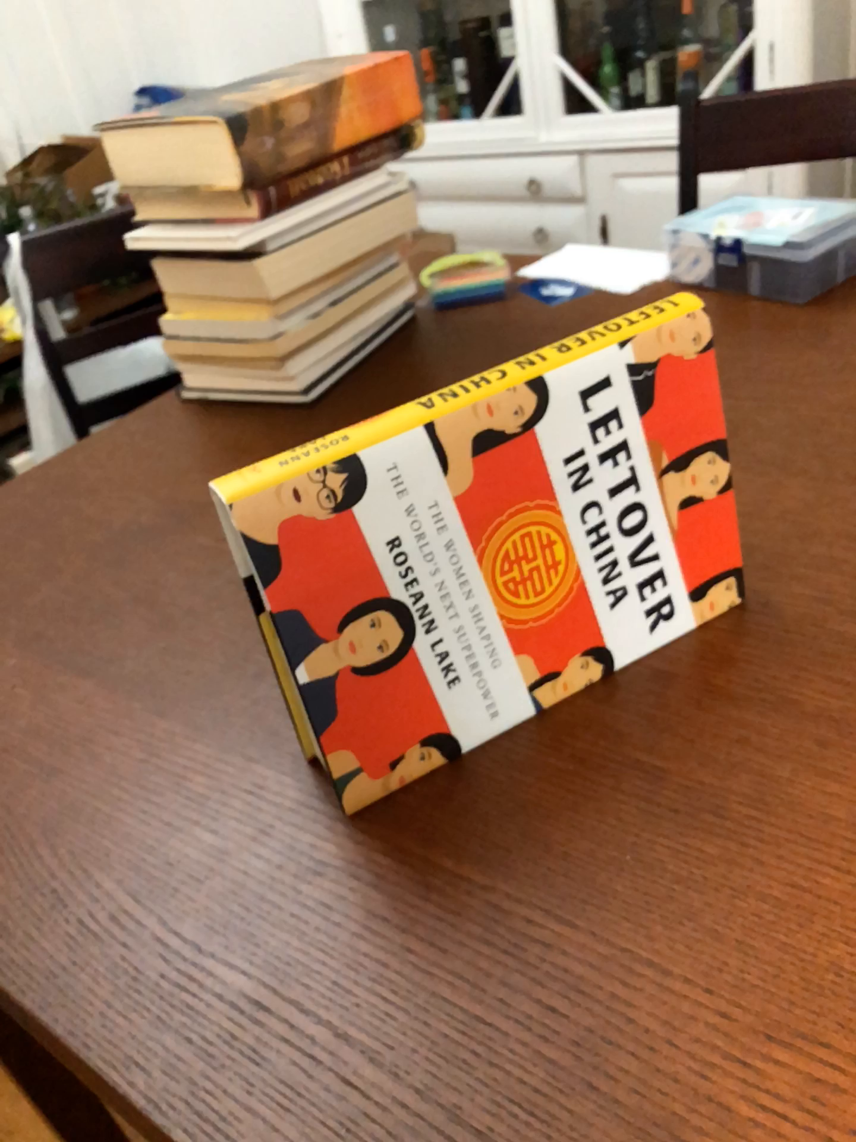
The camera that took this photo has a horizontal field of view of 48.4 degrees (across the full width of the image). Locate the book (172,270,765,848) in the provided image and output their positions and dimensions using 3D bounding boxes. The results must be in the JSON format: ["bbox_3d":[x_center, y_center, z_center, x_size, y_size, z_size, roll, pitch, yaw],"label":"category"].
[{"bbox_3d":[0.039,-0.010,0.454,0.260,0.179,0.060,-24,34,-17],"label":"book"}]
